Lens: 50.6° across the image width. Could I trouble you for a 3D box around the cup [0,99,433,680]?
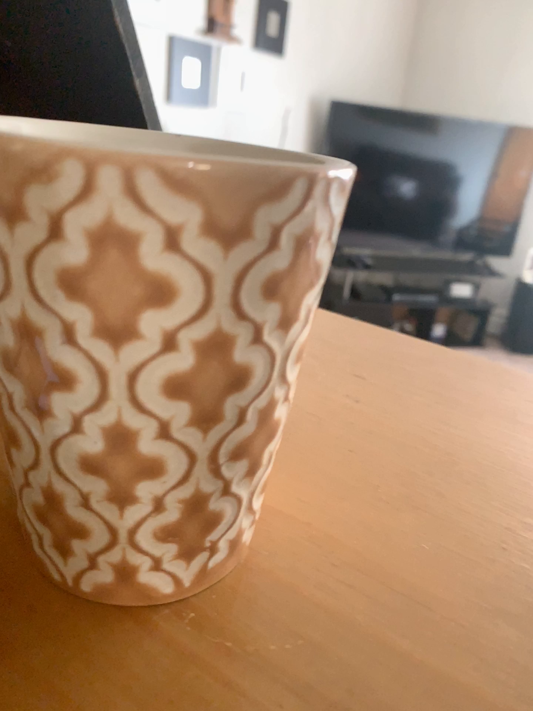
[{"bbox_3d":[-0.038,-0.010,0.167,0.090,0.109,0.121,-5,25,-26],"label":"cup"}]
